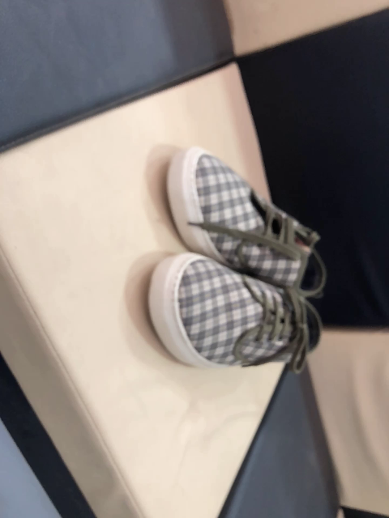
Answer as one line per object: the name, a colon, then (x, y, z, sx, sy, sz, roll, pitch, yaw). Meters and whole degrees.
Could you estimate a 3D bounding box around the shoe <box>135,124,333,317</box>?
shoe: (0.065, -0.025, 0.497, 0.262, 0.099, 0.100, 37, 64, -51)

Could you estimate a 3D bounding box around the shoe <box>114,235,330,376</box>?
shoe: (0.052, 0.062, 0.471, 0.272, 0.099, 0.100, 24, 74, -55)
